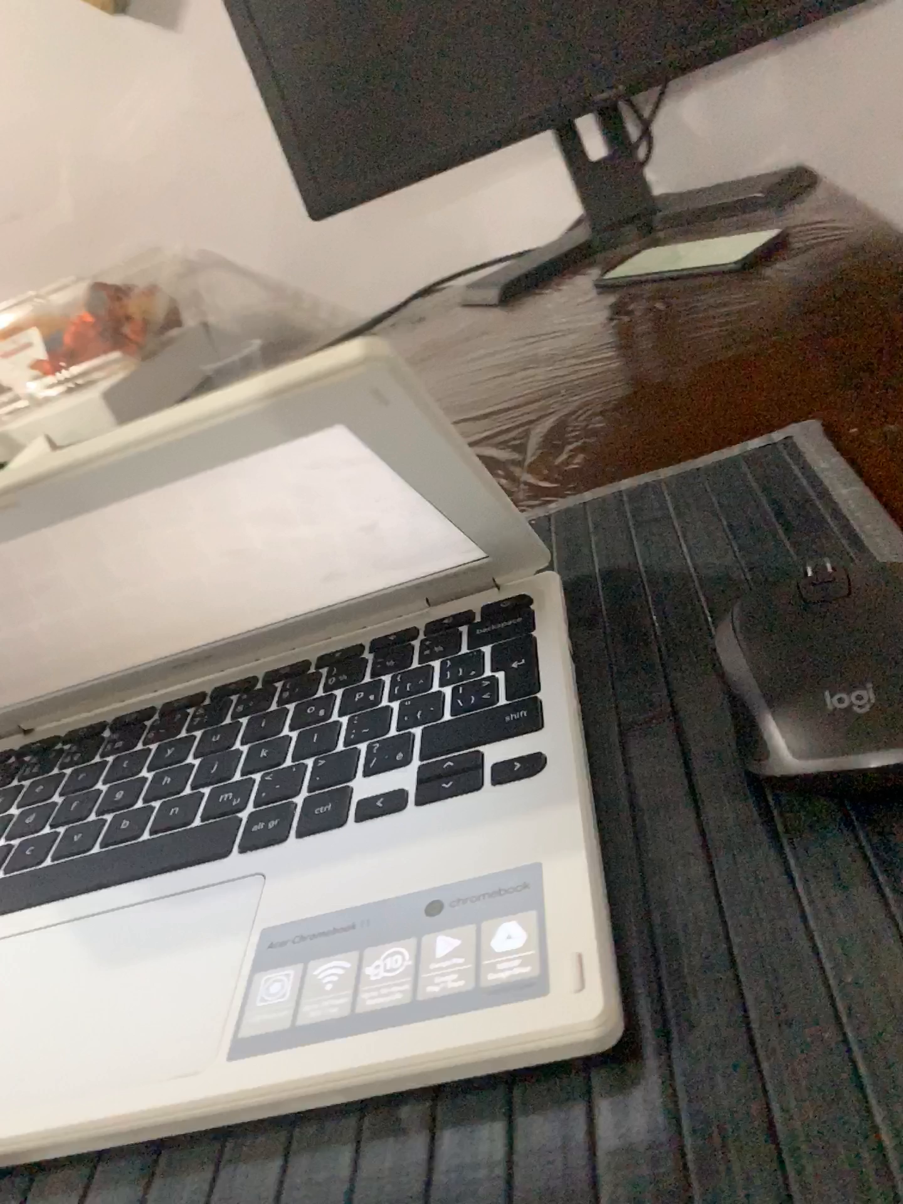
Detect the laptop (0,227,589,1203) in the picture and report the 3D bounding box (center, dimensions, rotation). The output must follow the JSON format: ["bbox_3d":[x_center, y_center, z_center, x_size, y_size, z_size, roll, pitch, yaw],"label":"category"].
[{"bbox_3d":[-0.123,0.023,0.258,0.280,0.124,0.182,-17,27,12],"label":"laptop"}]
